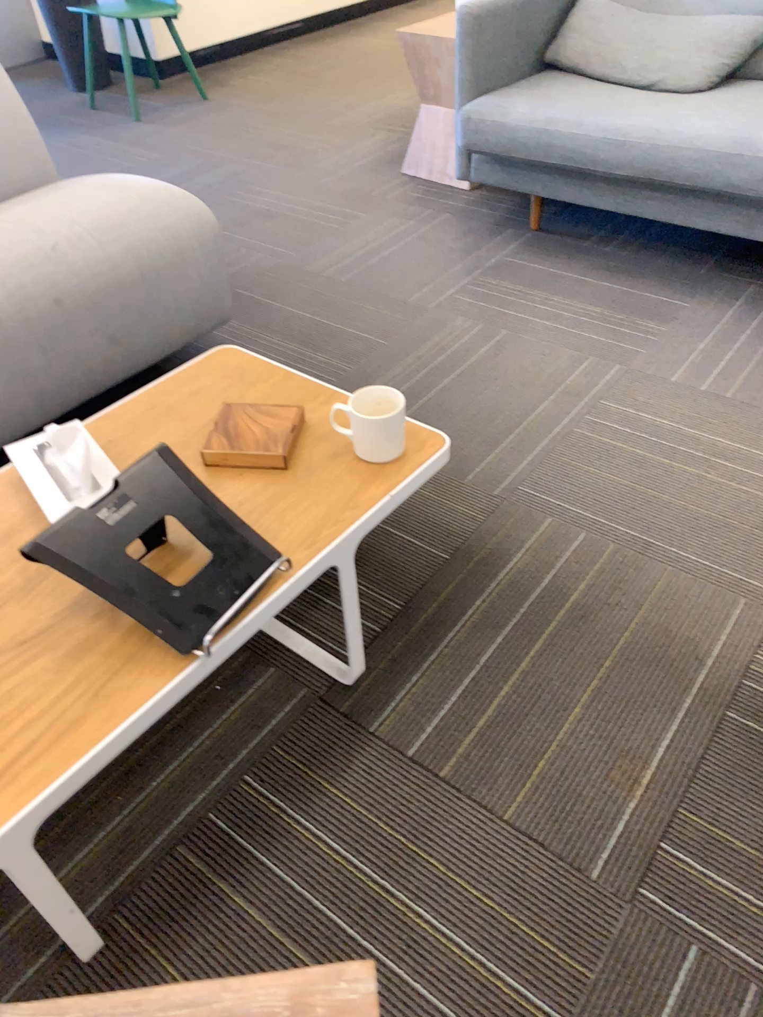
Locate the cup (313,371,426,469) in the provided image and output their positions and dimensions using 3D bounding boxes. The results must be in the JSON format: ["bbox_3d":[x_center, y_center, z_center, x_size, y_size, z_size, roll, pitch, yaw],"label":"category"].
[{"bbox_3d":[-0.015,-0.132,1.147,0.140,0.089,0.090,11,44,16],"label":"cup"}]
